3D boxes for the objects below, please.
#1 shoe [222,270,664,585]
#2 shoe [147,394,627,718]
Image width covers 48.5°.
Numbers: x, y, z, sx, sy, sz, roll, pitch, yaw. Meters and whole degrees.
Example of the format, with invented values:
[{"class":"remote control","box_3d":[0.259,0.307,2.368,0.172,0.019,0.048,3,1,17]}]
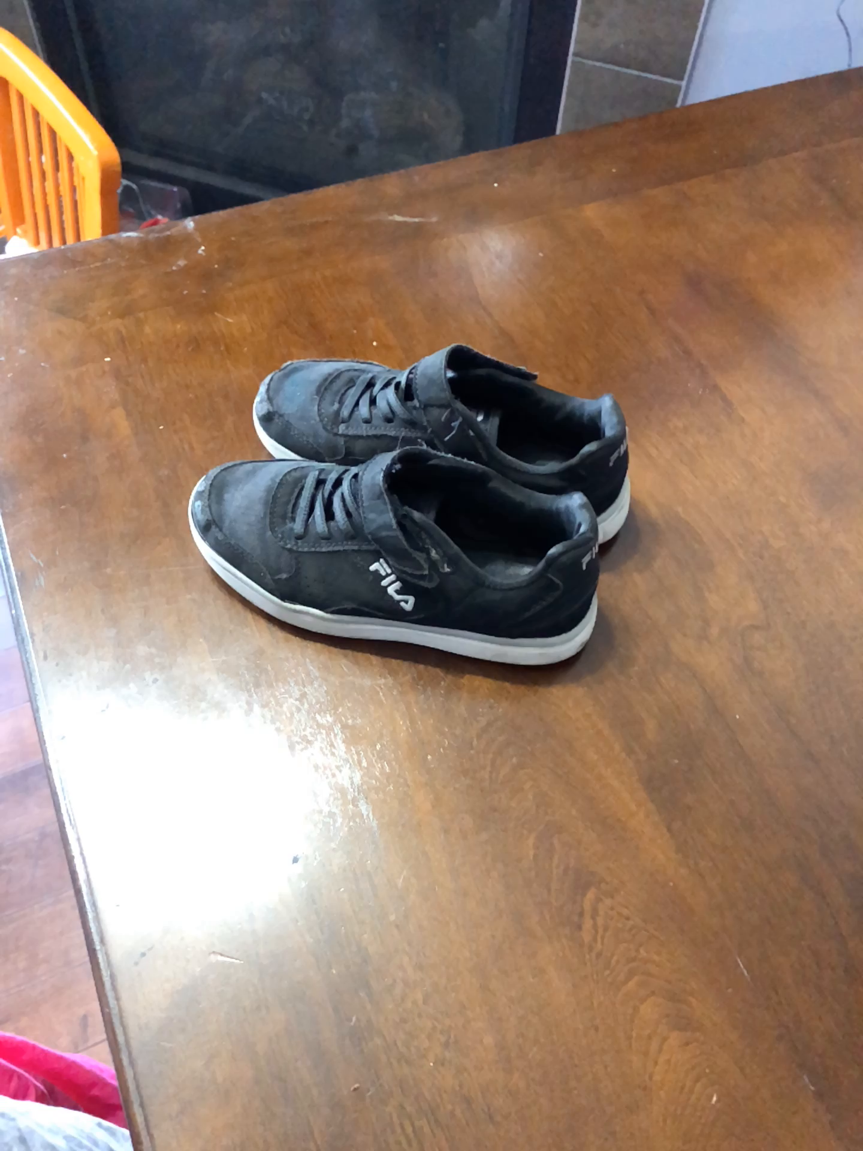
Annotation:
[{"class":"shoe","box_3d":[0.006,-0.082,0.525,0.210,0.080,0.090,17,58,8]},{"class":"shoe","box_3d":[-0.019,-0.010,0.485,0.210,0.080,0.090,13,58,6]}]
